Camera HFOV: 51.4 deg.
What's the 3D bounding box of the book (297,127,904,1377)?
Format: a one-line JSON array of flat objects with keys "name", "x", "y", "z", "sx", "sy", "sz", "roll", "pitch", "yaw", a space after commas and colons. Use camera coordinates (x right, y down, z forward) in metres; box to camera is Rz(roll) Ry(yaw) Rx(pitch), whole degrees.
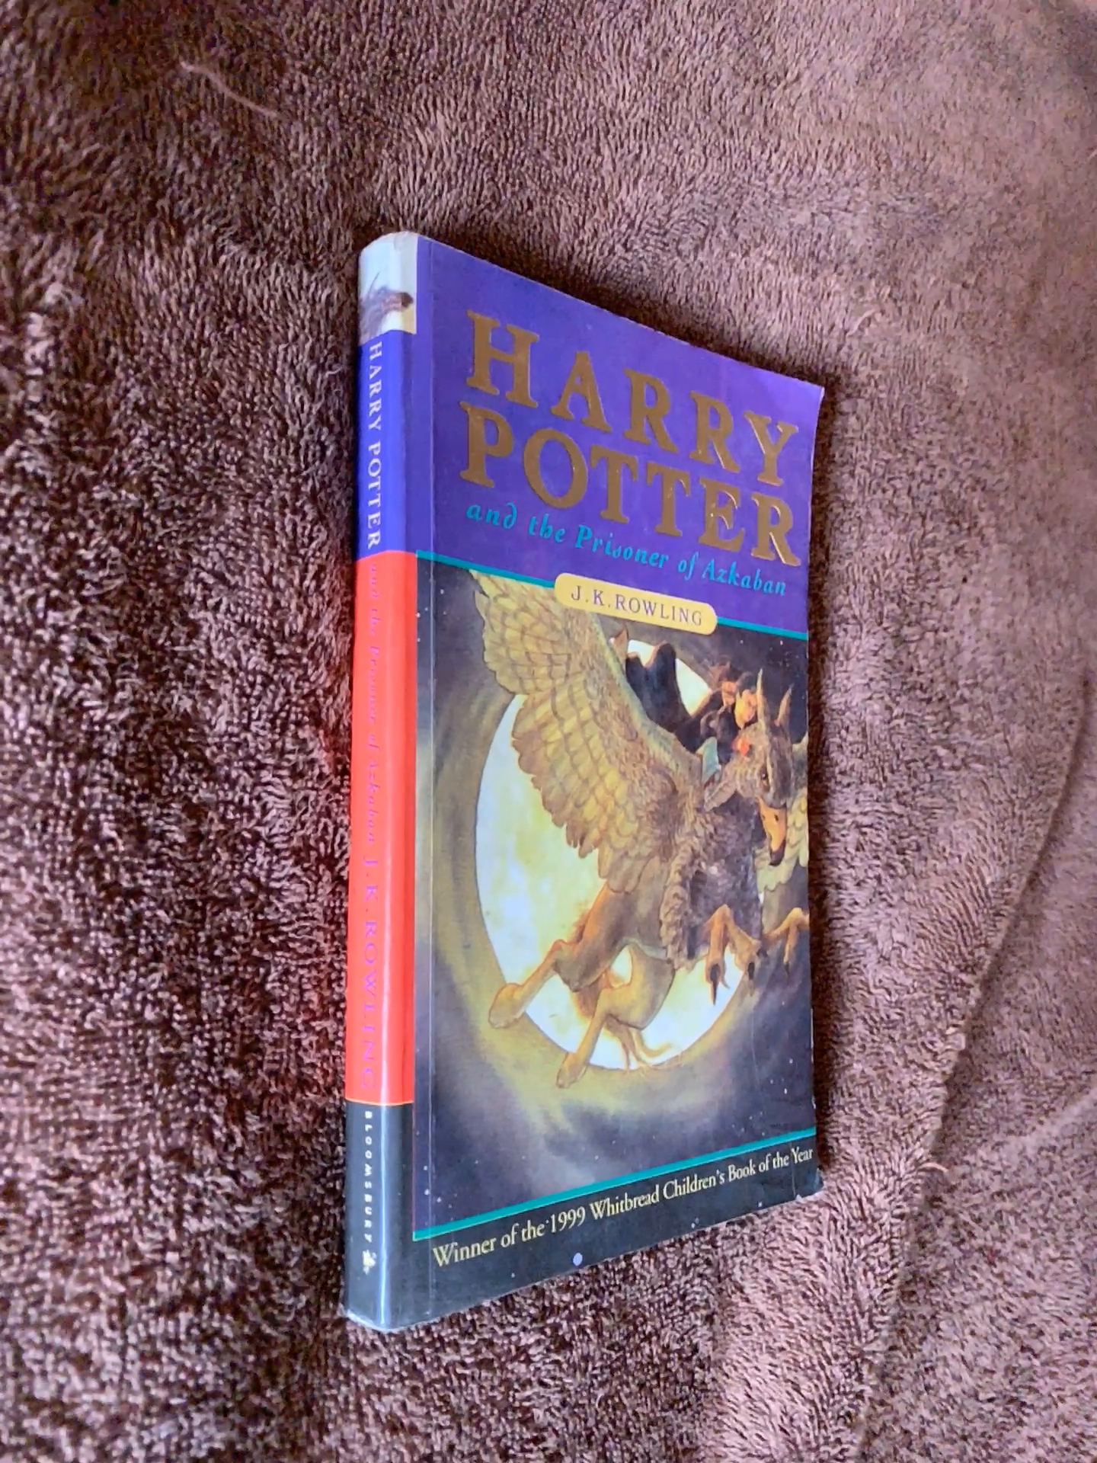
[{"name": "book", "x": 0.020, "y": 0.003, "z": 0.213, "sx": 0.131, "sy": 0.020, "sz": 0.180, "roll": 4, "pitch": 85, "yaw": -40}]
